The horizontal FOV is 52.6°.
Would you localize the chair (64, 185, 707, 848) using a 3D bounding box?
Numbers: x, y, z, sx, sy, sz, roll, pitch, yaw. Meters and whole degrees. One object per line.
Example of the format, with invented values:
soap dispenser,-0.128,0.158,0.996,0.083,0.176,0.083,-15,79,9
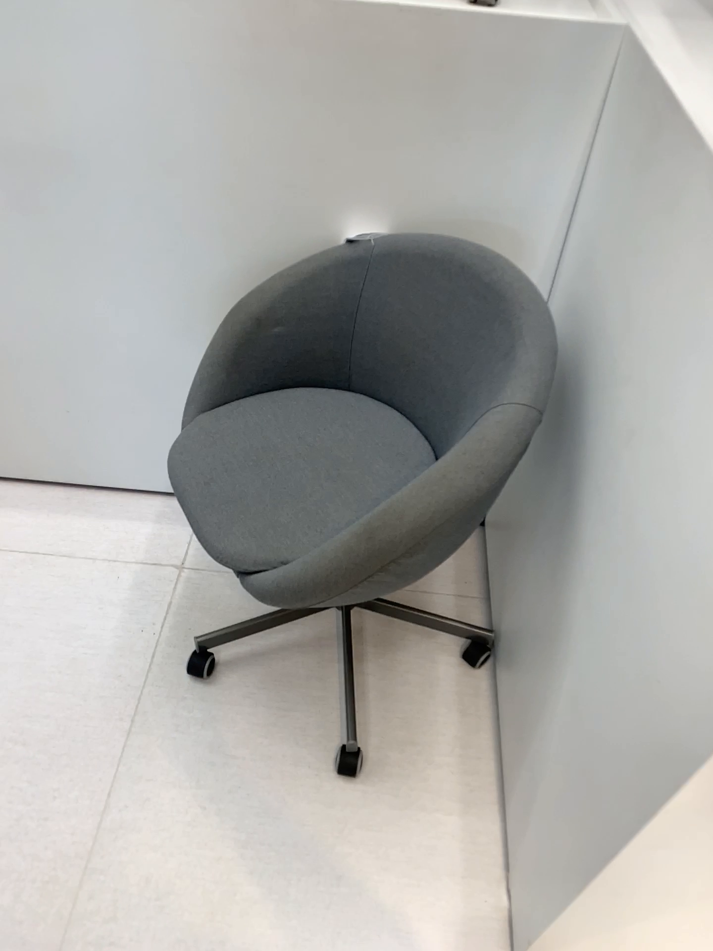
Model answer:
chair,-0.028,0.054,1.371,0.710,0.827,0.732,-16,49,-20
